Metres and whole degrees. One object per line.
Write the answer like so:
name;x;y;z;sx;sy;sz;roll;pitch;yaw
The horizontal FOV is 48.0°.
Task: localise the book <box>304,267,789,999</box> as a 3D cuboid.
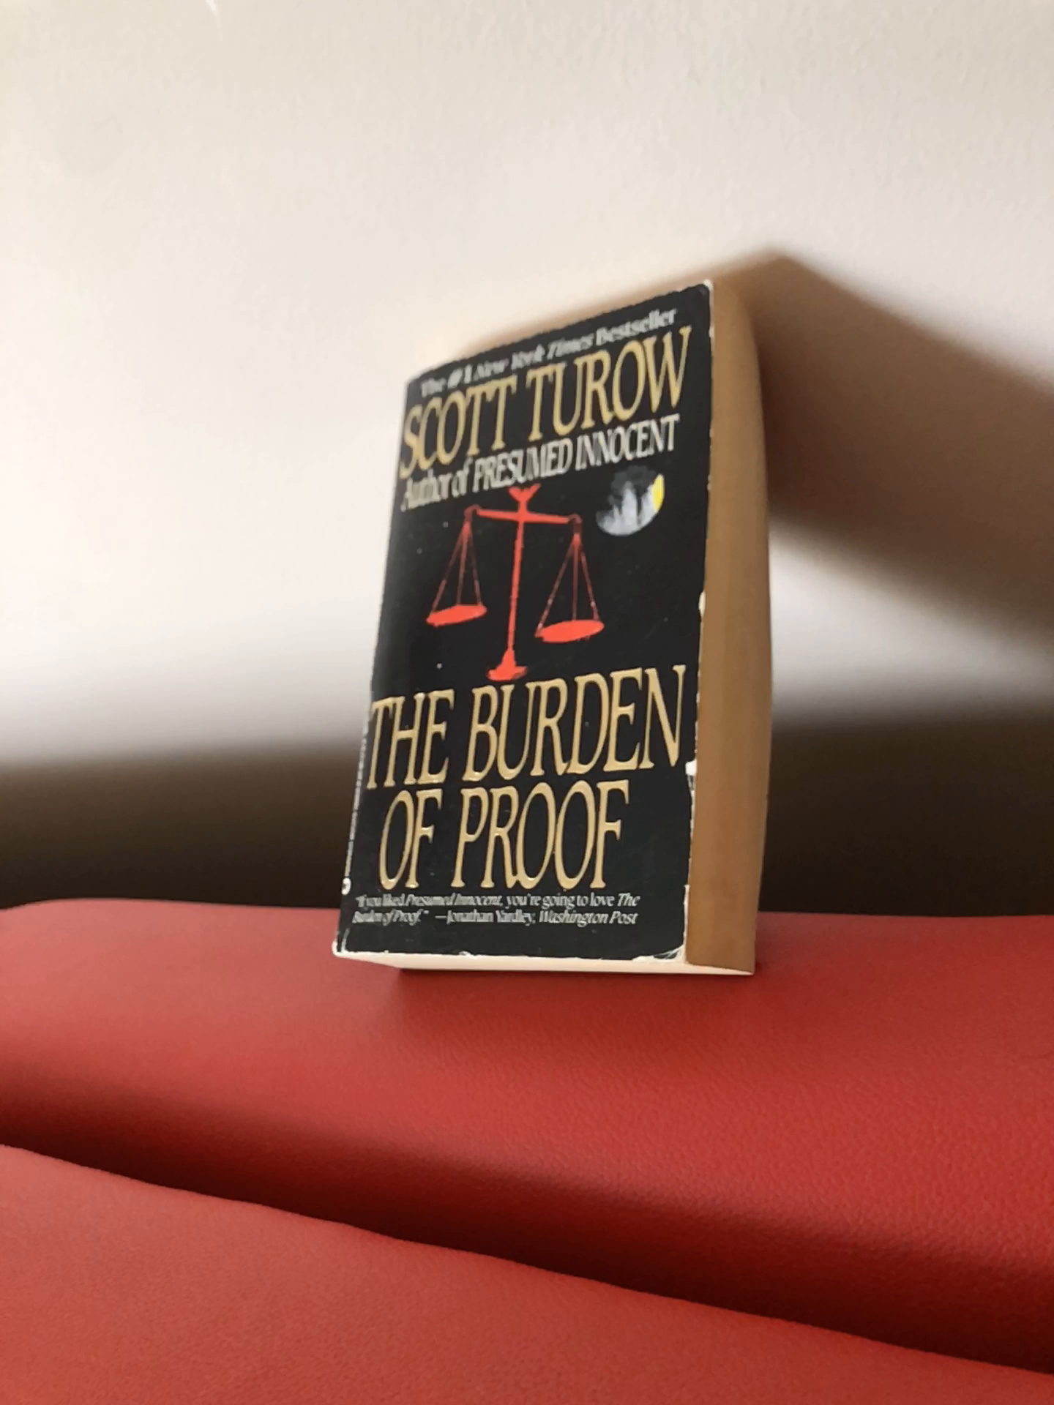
book;0.008;-0.014;0.311;0.106;0.045;0.171;-6;69;32
